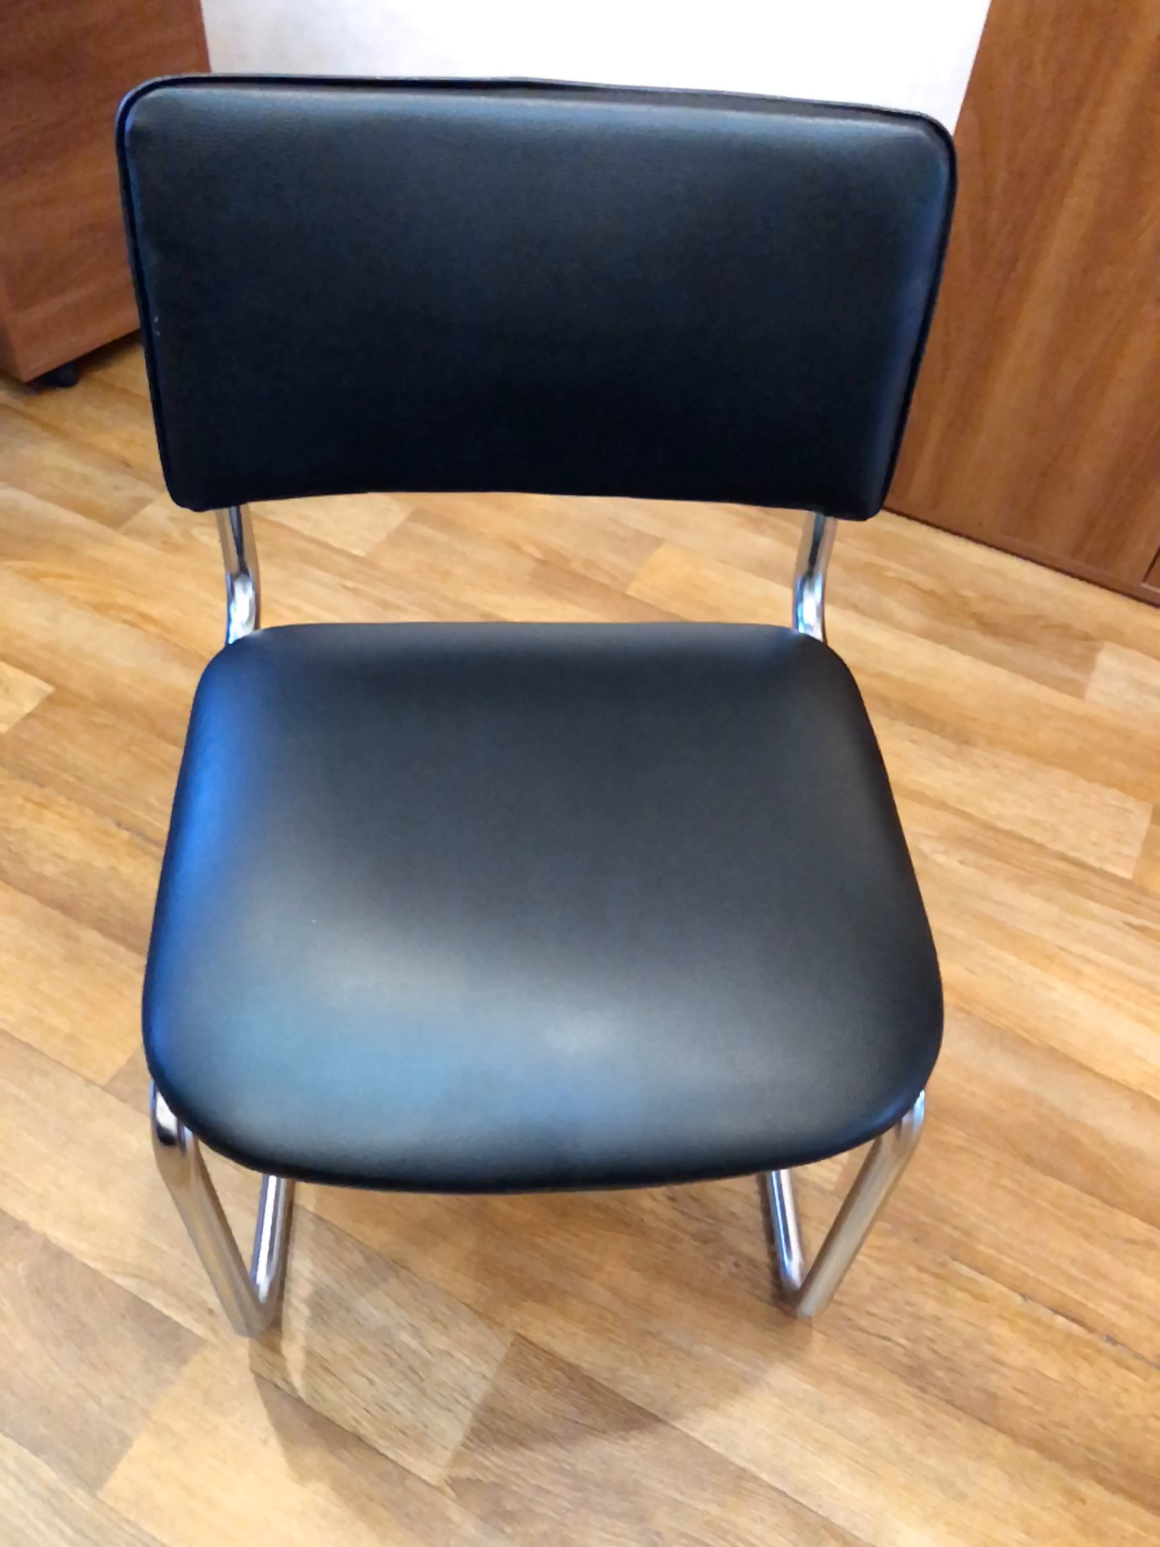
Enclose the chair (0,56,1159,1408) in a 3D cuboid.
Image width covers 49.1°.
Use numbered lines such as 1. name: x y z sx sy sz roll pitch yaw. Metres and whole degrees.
1. chair: -0.020 0.032 0.857 0.491 0.745 0.527 0 49 -4
